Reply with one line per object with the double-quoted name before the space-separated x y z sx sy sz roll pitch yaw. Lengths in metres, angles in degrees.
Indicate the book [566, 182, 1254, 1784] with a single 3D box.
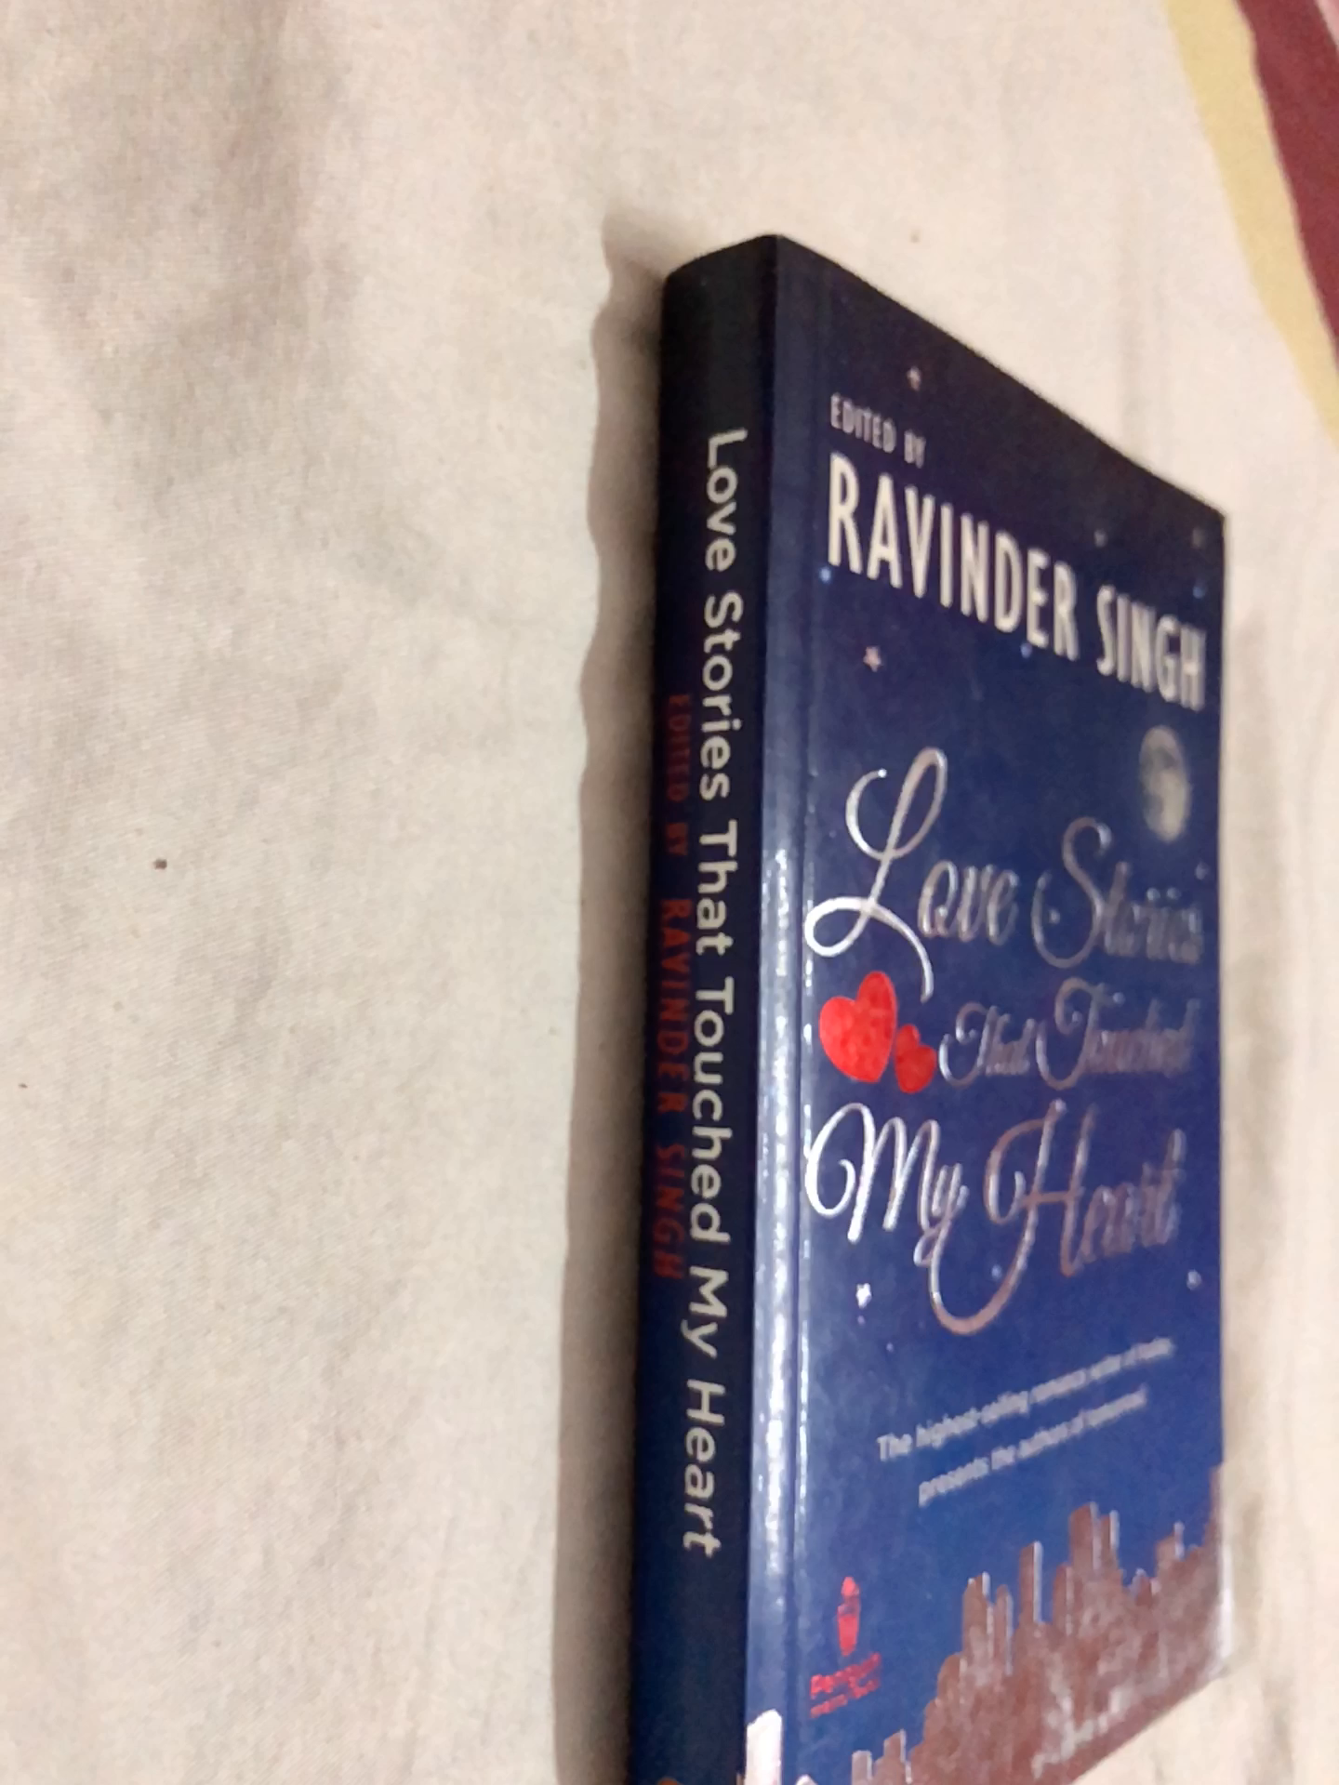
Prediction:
"book" 0.046 0.027 0.227 0.131 0.030 0.210 5 85 -47
